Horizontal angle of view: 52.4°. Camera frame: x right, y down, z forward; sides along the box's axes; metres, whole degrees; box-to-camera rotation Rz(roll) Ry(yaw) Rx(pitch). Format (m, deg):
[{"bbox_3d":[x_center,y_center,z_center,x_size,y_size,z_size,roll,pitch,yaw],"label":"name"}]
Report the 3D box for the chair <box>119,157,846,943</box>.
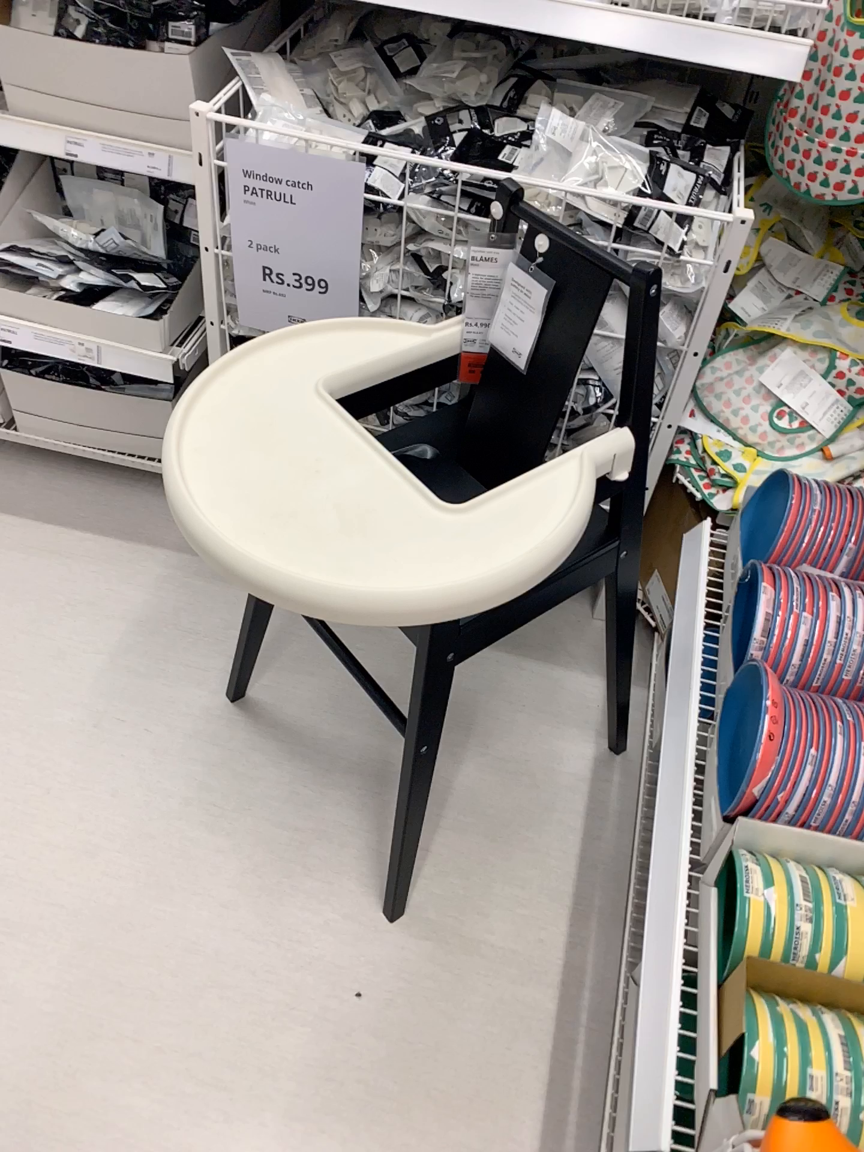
[{"bbox_3d":[0.017,-0.022,1.201,0.551,0.777,0.531,-27,56,-27],"label":"chair"}]
